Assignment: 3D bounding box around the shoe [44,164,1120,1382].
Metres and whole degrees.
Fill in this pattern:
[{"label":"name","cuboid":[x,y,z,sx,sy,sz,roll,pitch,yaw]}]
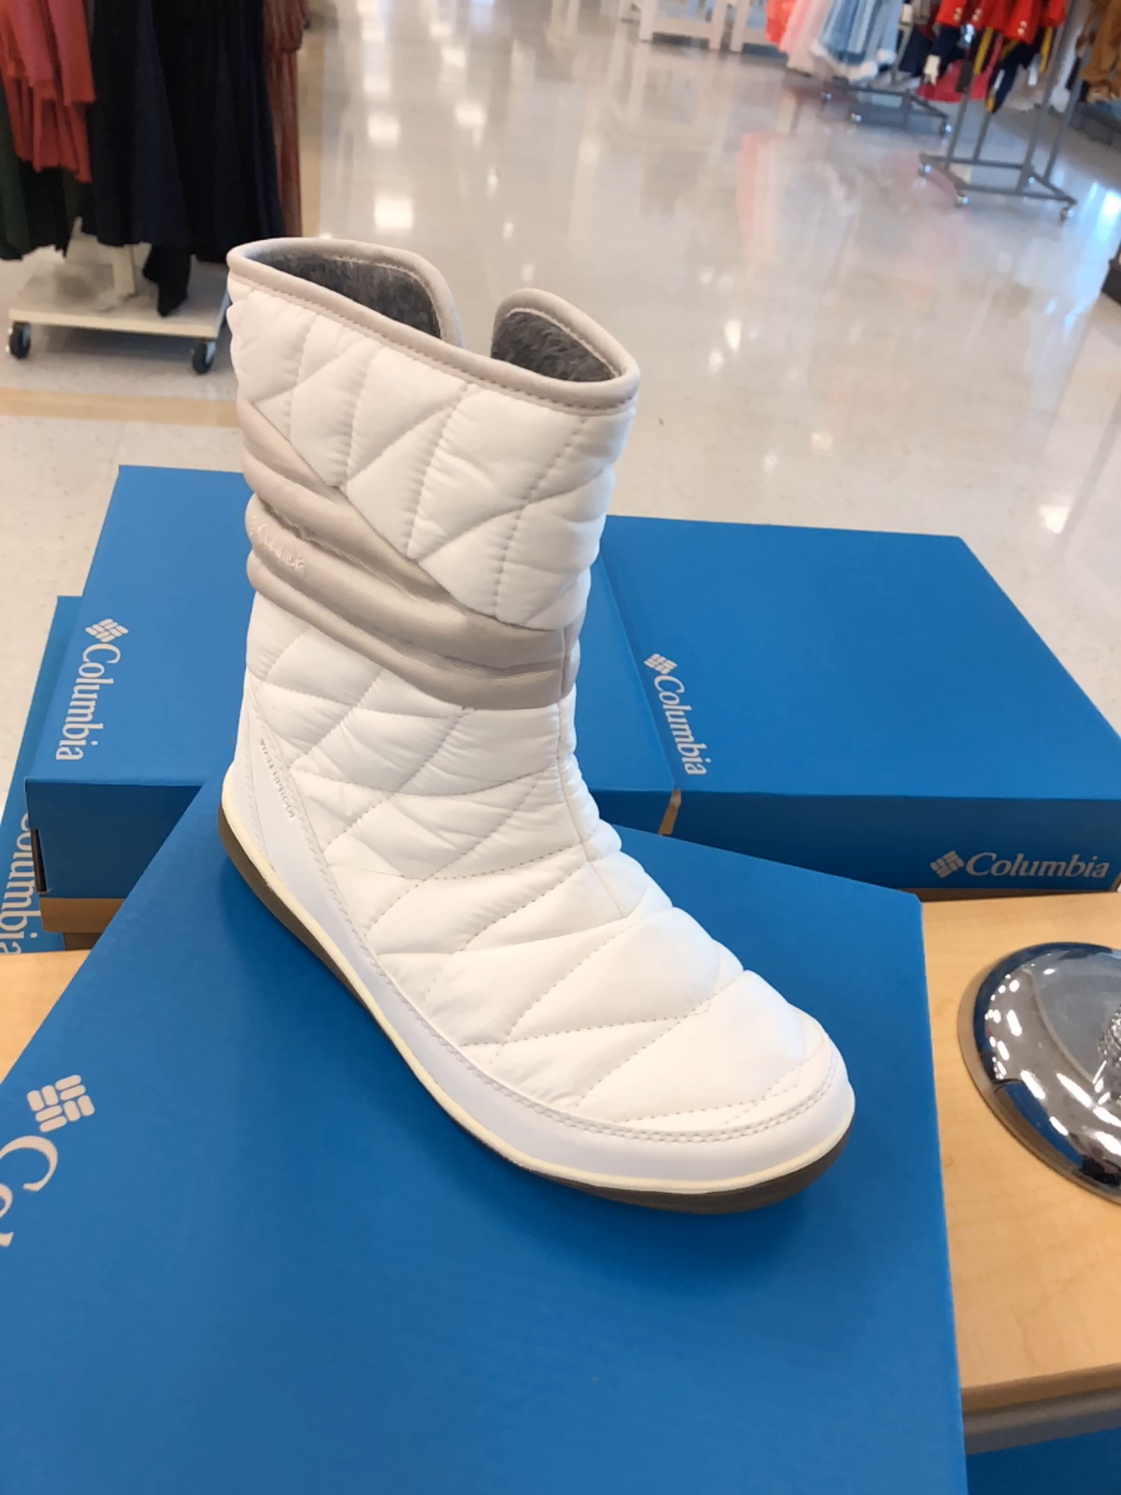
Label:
[{"label":"shoe","cuboid":[-0.013,-0.004,0.353,0.261,0.228,0.105,33,43,27]}]
